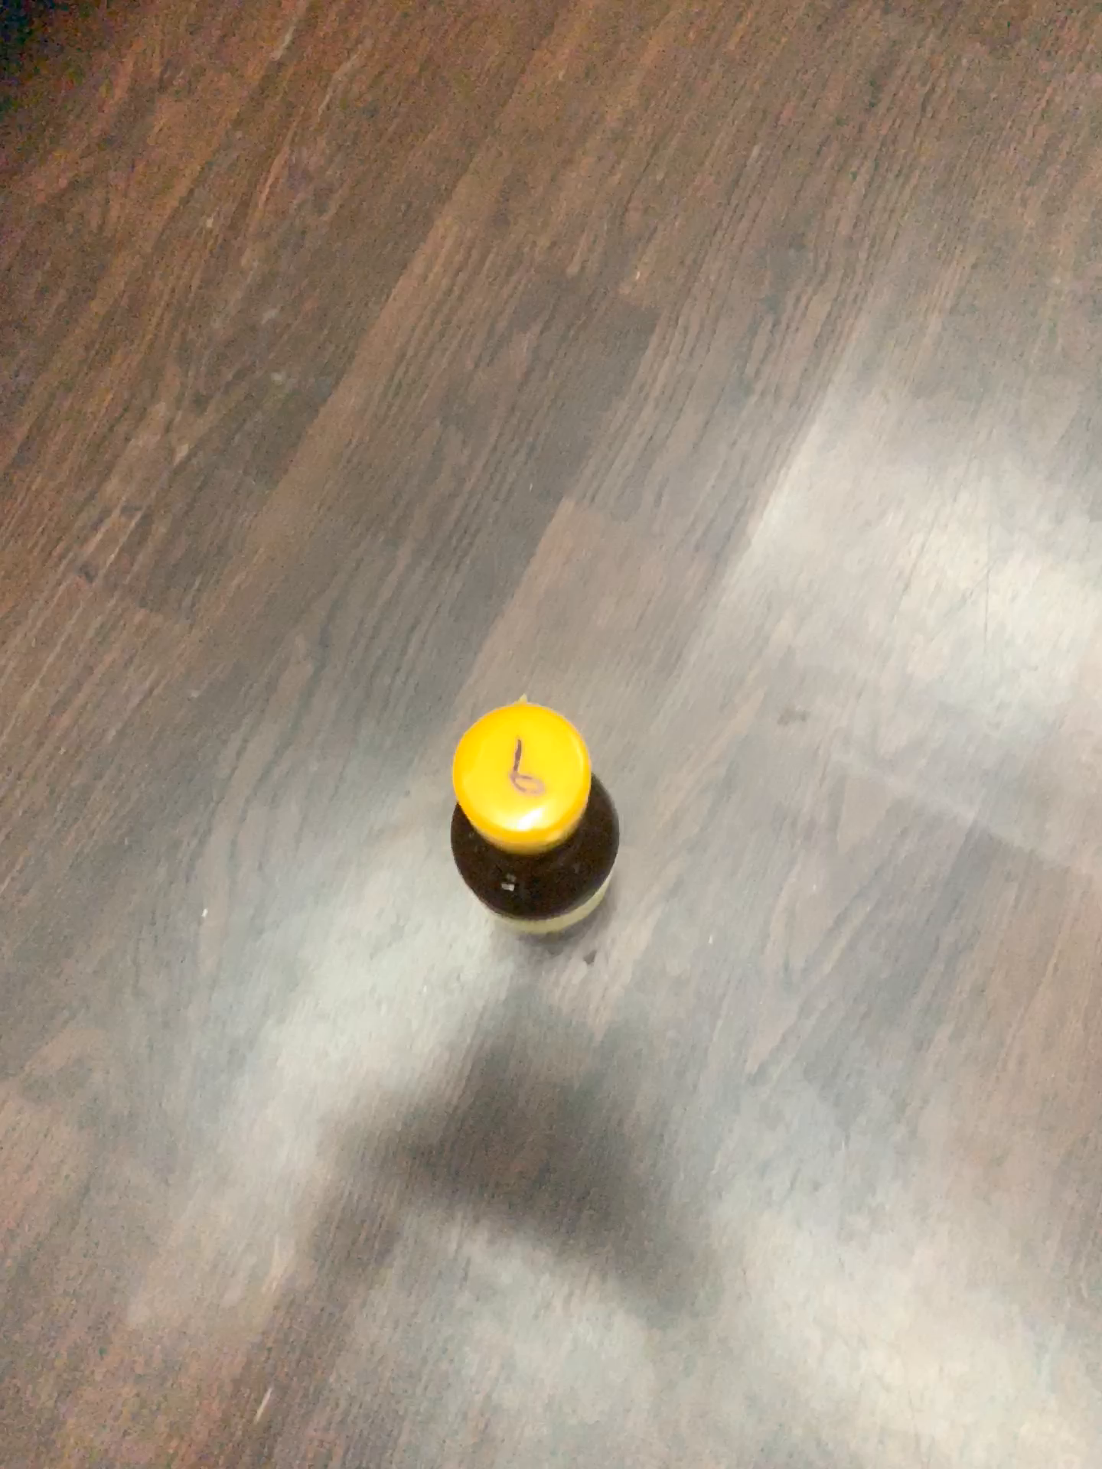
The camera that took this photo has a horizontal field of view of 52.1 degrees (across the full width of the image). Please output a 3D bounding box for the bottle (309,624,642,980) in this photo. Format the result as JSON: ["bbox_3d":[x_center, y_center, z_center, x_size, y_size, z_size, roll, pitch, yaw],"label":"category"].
[{"bbox_3d":[-0.013,0.030,0.305,0.060,0.170,0.060,0,76,1],"label":"bottle"}]
